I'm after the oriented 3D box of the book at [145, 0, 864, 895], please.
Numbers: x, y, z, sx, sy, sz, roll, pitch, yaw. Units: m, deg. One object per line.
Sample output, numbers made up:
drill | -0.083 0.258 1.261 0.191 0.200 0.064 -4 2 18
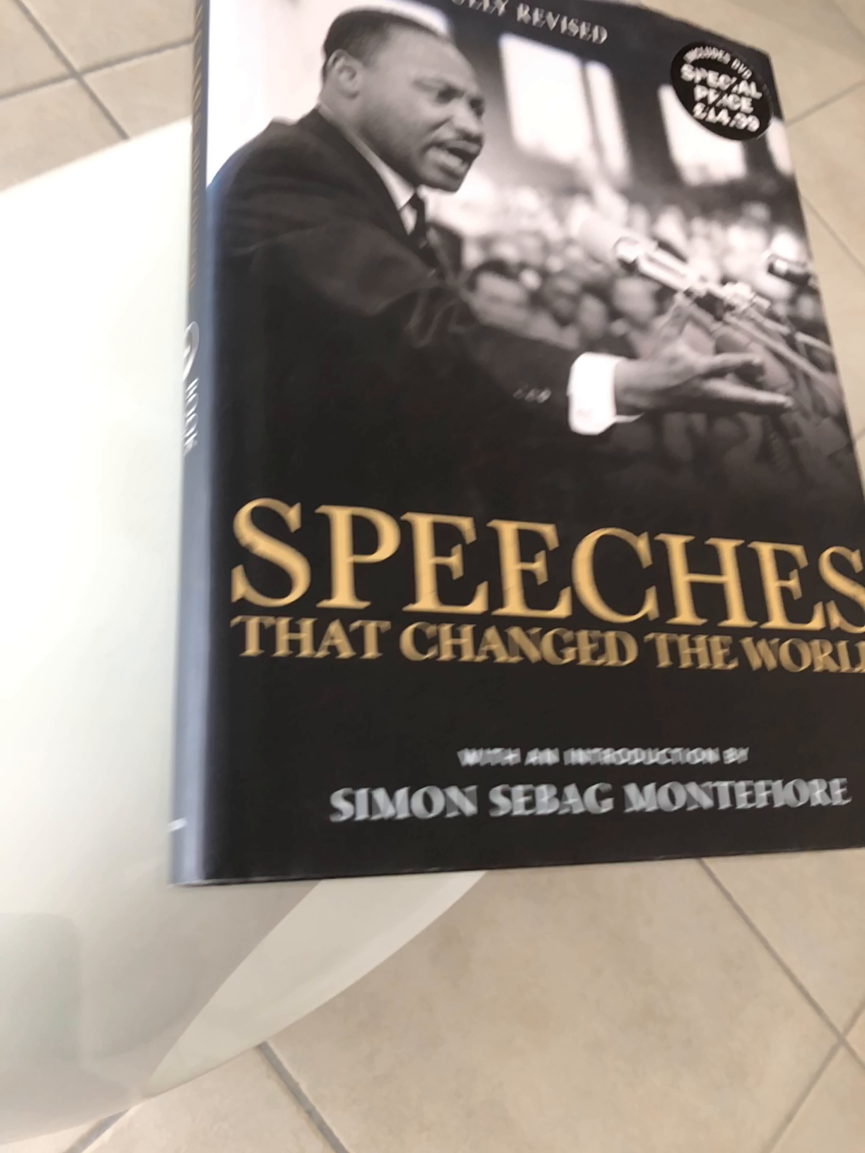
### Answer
book | 0.033 -0.067 0.278 0.211 0.040 0.290 4 68 -21
